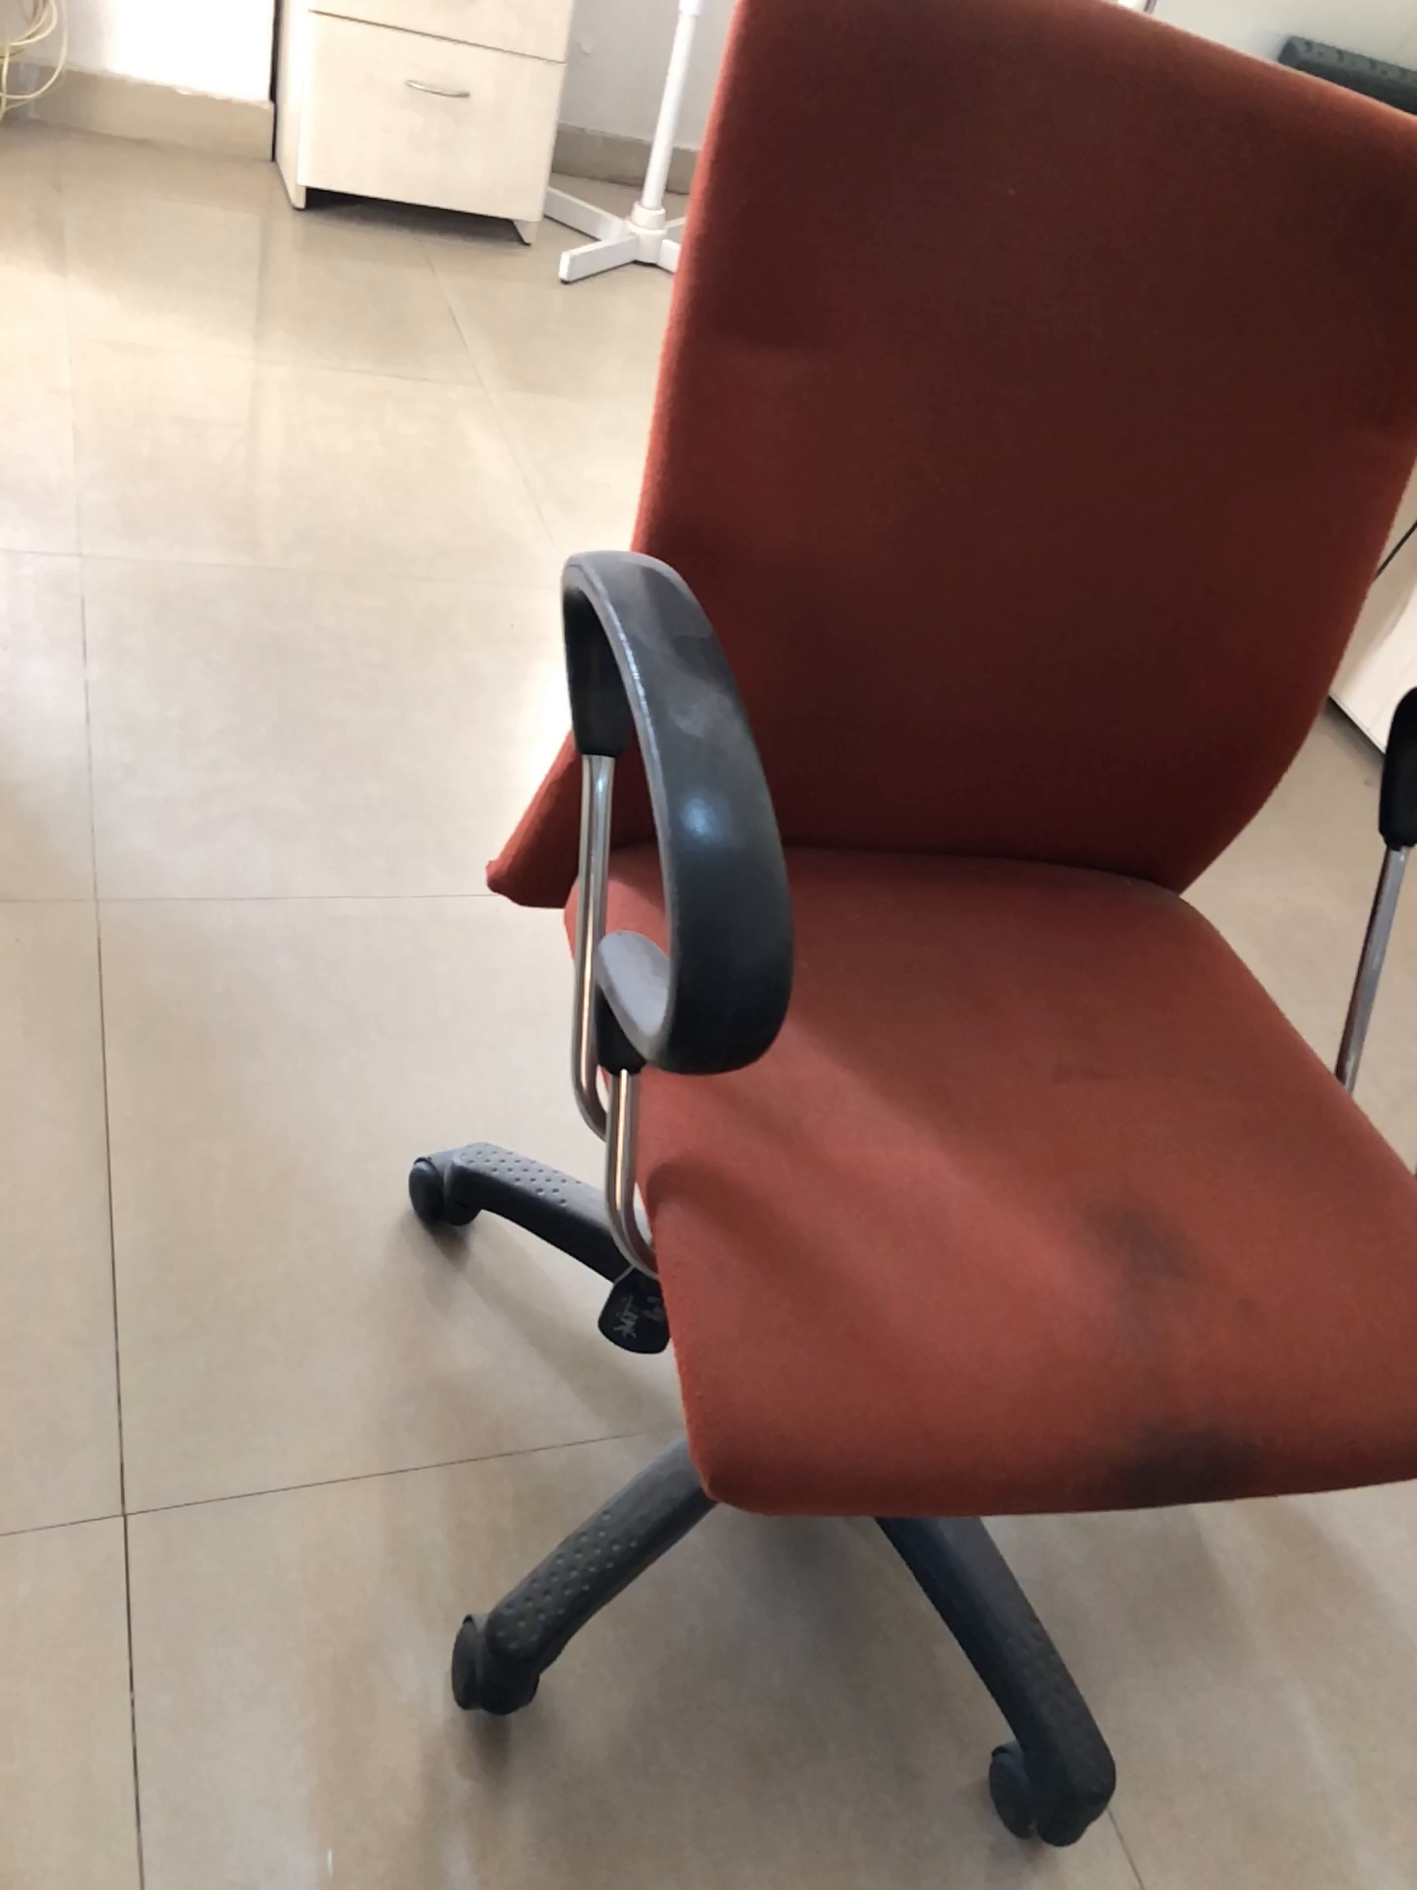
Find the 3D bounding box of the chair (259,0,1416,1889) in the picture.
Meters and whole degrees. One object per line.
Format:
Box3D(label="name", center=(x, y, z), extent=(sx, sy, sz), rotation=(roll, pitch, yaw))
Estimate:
Box3D(label="chair", center=(0.162, 0.051, 0.968), extent=(0.771, 1.042, 0.704), rotation=(4, 42, -18))
